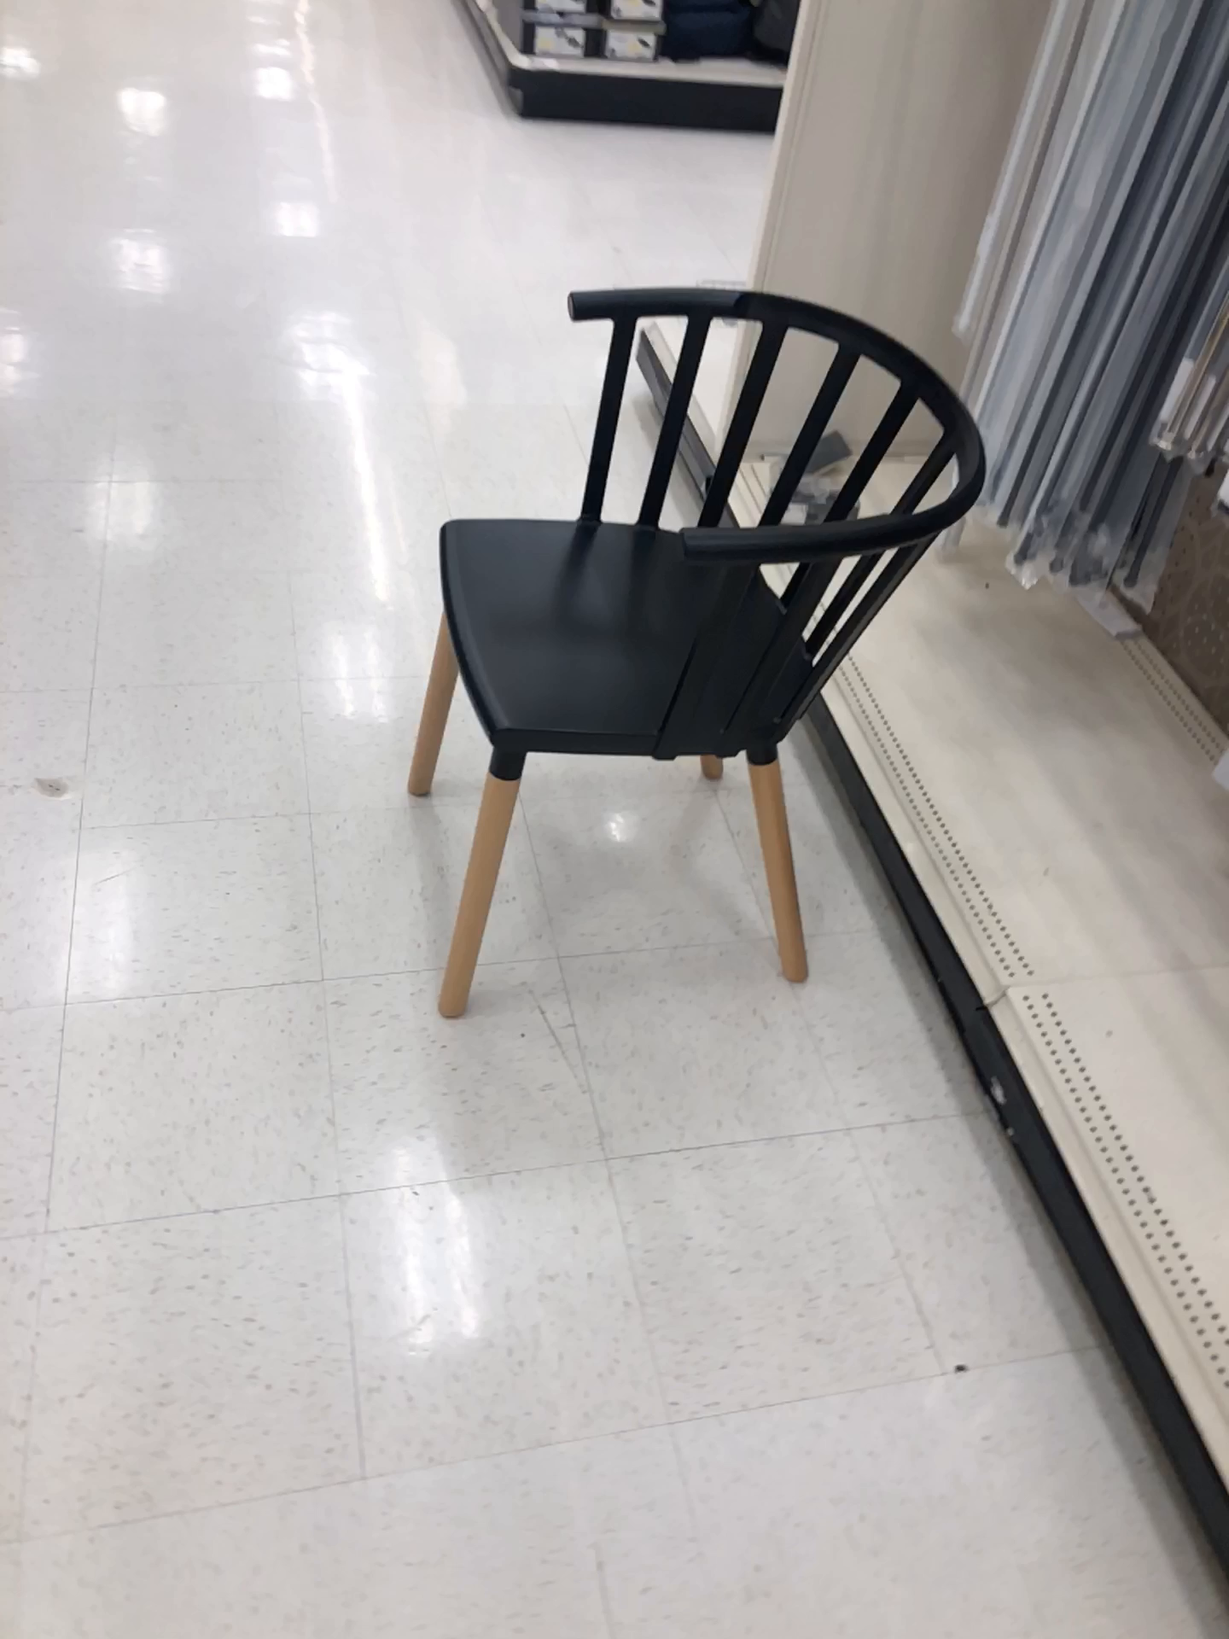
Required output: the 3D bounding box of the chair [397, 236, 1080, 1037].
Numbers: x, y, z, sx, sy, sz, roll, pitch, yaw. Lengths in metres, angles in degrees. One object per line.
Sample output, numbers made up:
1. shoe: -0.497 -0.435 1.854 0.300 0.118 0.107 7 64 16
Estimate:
1. chair: 0.053 -0.203 1.605 0.568 0.730 0.536 -2 44 -13
